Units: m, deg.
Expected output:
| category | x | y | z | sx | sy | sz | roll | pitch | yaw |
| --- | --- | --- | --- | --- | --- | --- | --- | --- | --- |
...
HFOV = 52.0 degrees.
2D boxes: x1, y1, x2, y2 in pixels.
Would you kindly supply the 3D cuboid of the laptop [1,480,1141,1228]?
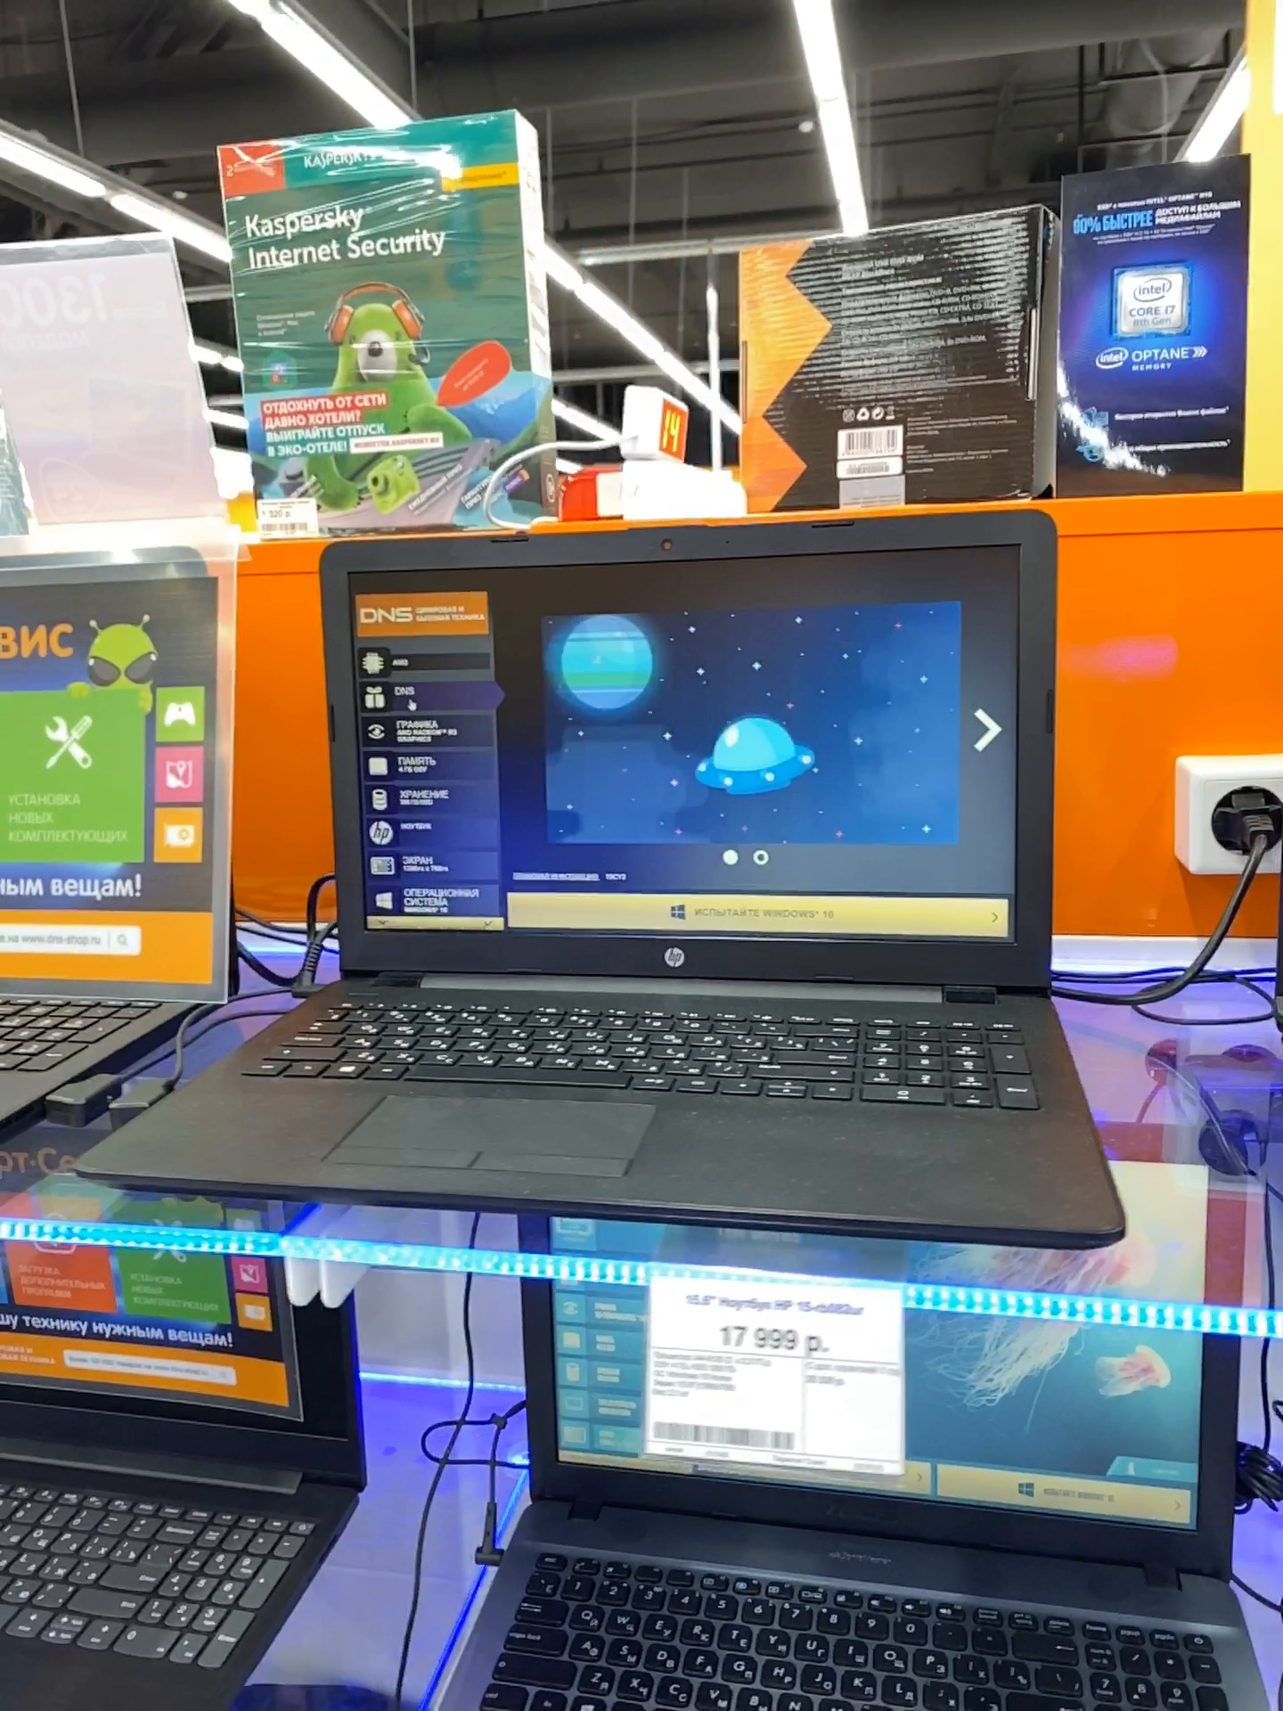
| category | x | y | z | sx | sy | sz | roll | pitch | yaw |
| --- | --- | --- | --- | --- | --- | --- | --- | --- | --- |
| laptop | -0.006 | -0.023 | 0.564 | 0.369 | 0.231 | 0.272 | 0 | 11 | 11 |
